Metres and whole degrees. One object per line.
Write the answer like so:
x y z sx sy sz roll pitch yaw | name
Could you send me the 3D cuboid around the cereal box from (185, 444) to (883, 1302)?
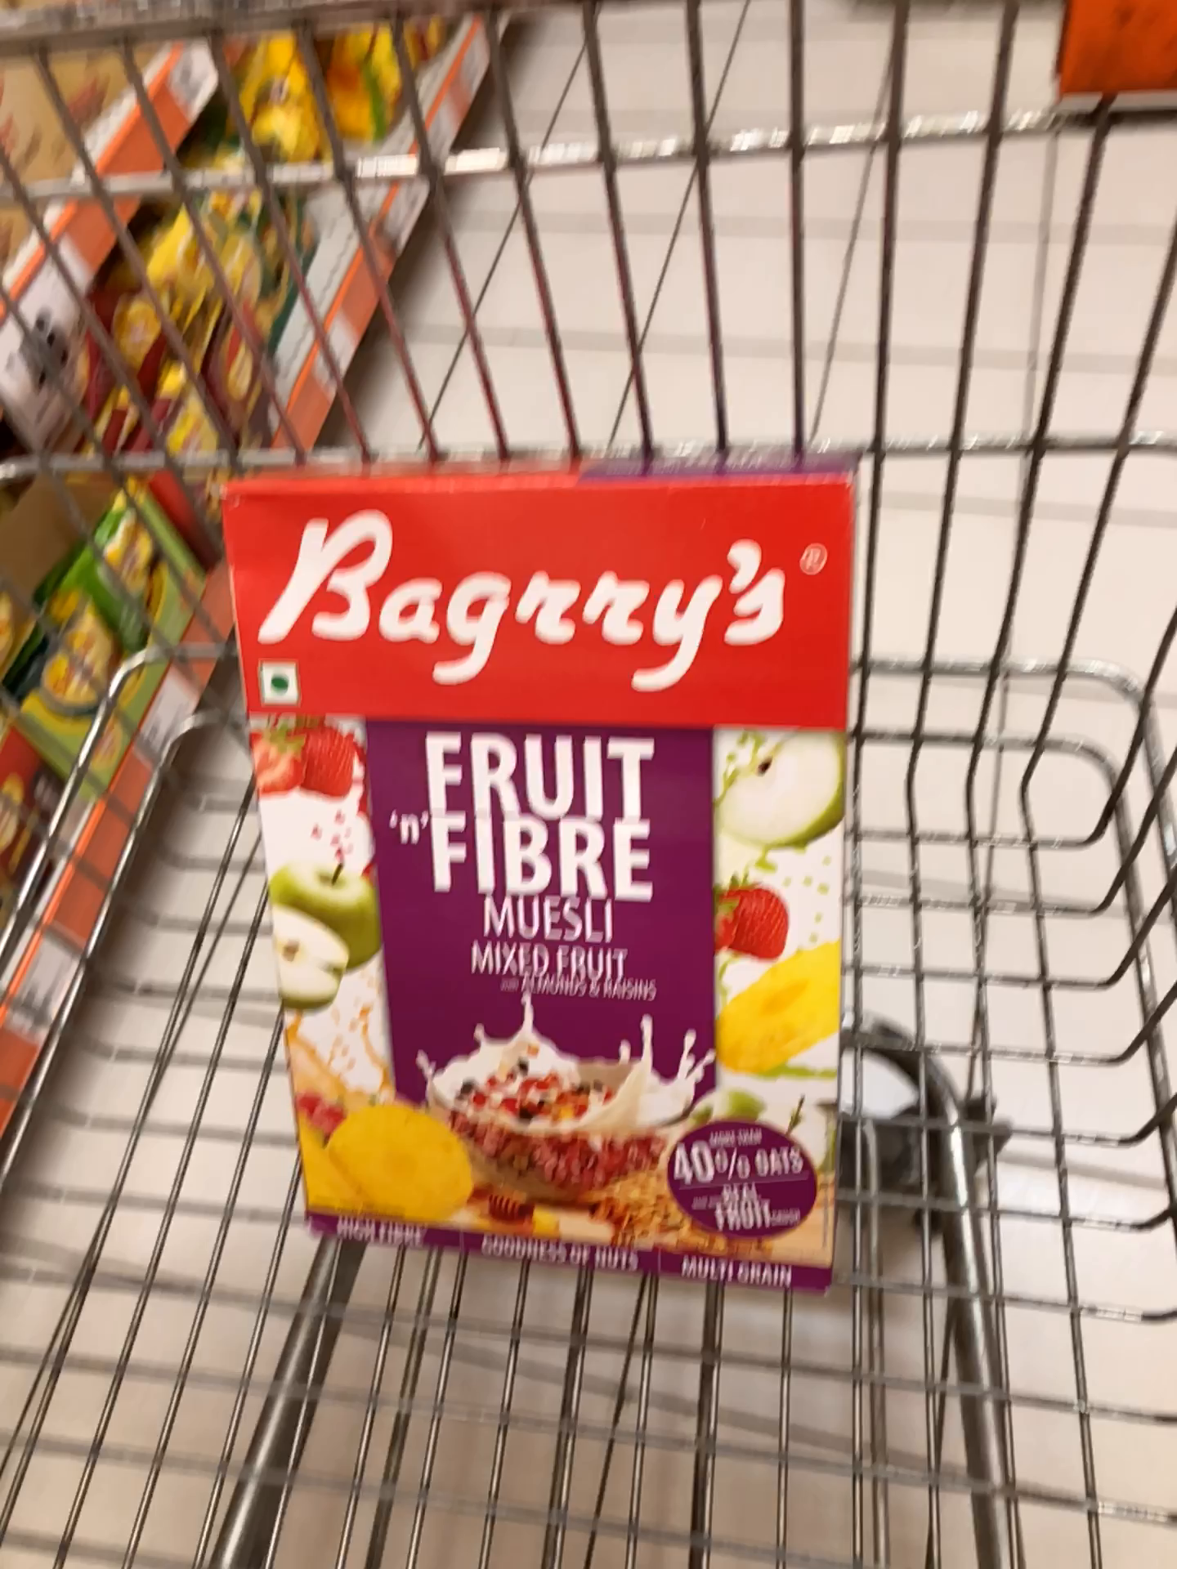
-0.010 0.024 0.413 0.190 0.249 0.070 2 17 12 | cereal box
